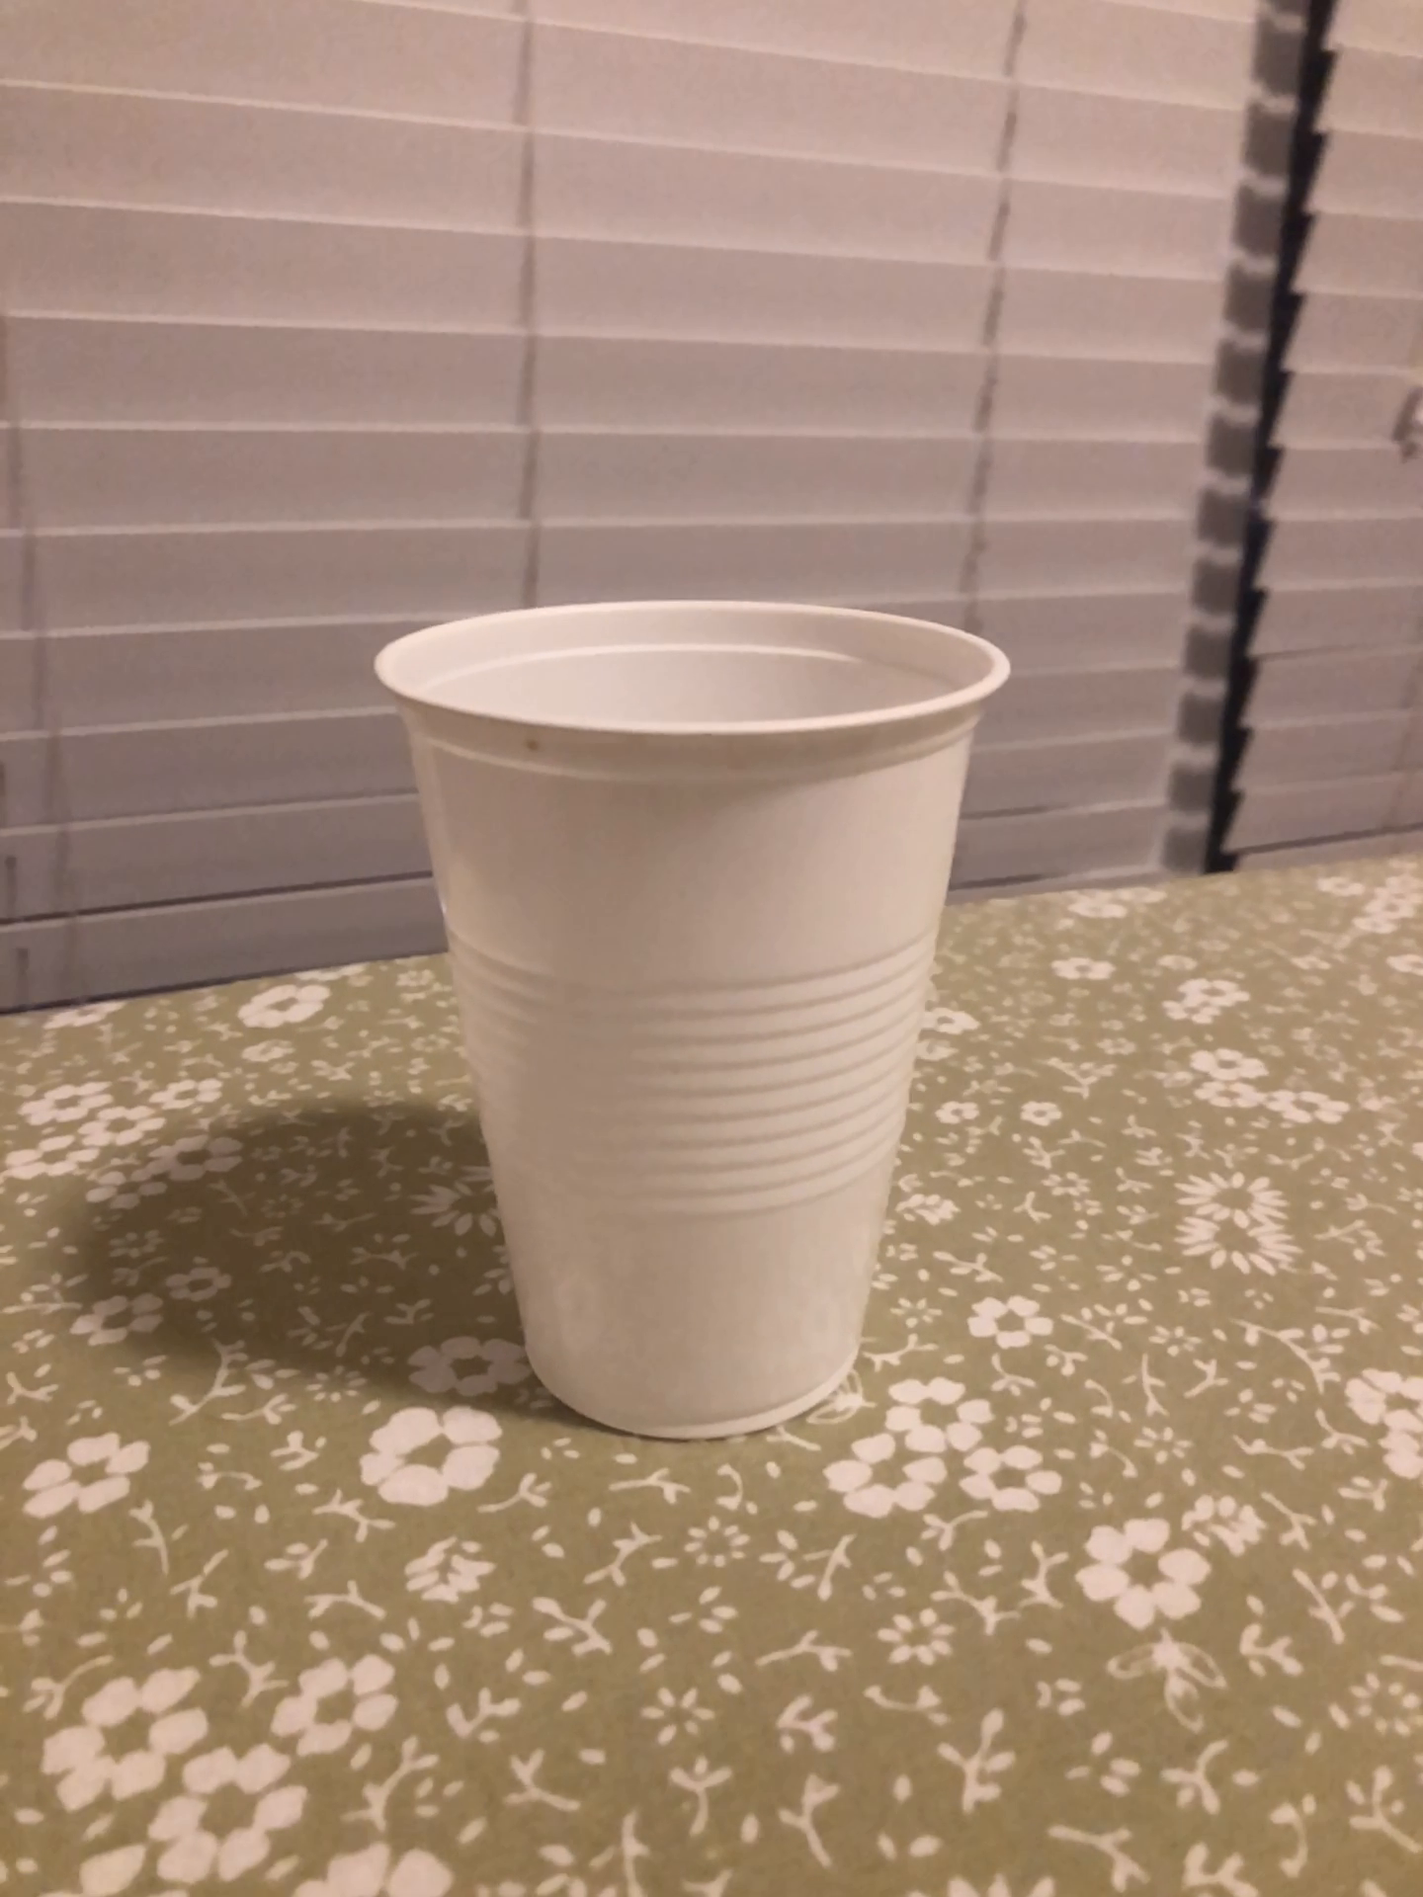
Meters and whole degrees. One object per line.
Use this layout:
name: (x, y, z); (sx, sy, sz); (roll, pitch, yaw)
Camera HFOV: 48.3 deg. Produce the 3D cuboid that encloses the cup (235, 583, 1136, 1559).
cup: (-0.002, 0.005, 0.209); (0.077, 0.090, 0.079); (-1, 20, 0)
